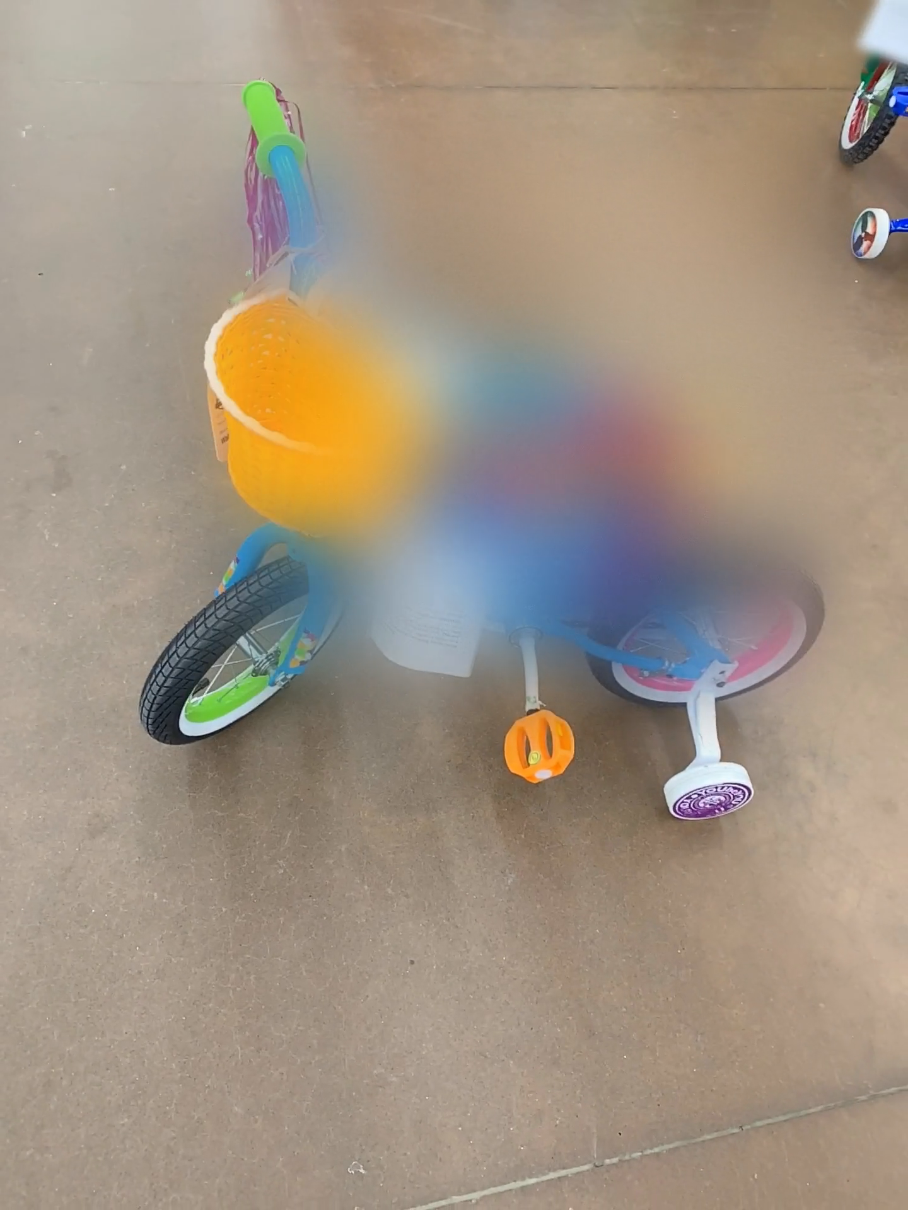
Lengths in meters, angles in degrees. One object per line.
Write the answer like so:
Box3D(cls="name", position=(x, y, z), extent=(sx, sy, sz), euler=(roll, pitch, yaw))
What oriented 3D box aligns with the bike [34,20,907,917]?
Box3D(cls="bike", position=(0.073, -0.125, 1.007), extent=(0.816, 0.664, 0.554), euler=(-7, 52, -16))
